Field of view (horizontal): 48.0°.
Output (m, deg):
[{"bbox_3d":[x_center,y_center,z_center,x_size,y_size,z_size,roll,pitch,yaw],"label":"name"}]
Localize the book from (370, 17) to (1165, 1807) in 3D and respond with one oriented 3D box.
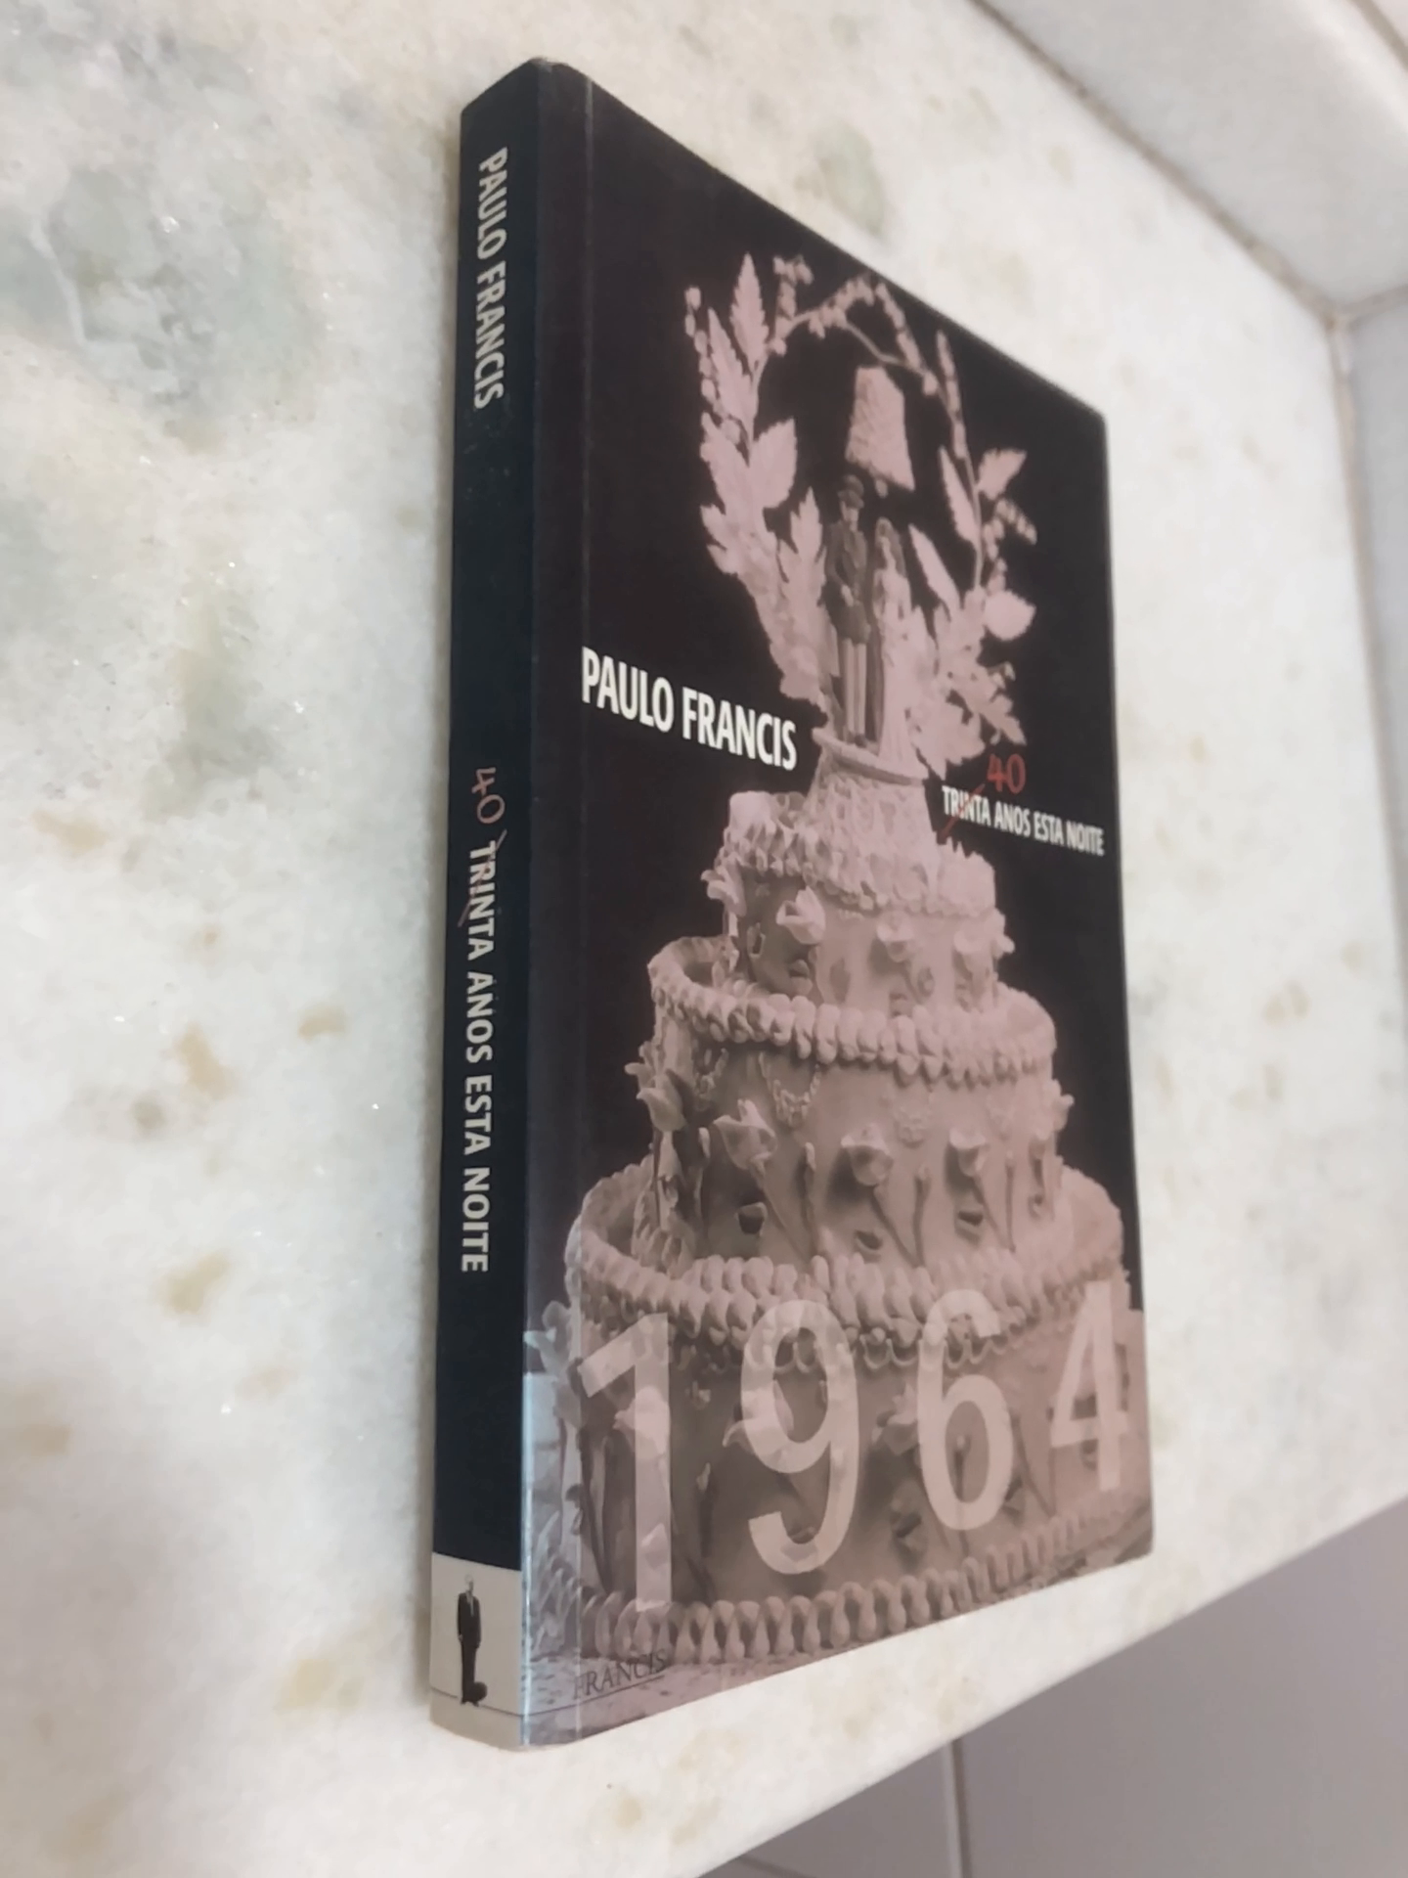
[{"bbox_3d":[0.020,-0.003,0.233,0.141,0.020,0.203,9,77,-45],"label":"book"}]
